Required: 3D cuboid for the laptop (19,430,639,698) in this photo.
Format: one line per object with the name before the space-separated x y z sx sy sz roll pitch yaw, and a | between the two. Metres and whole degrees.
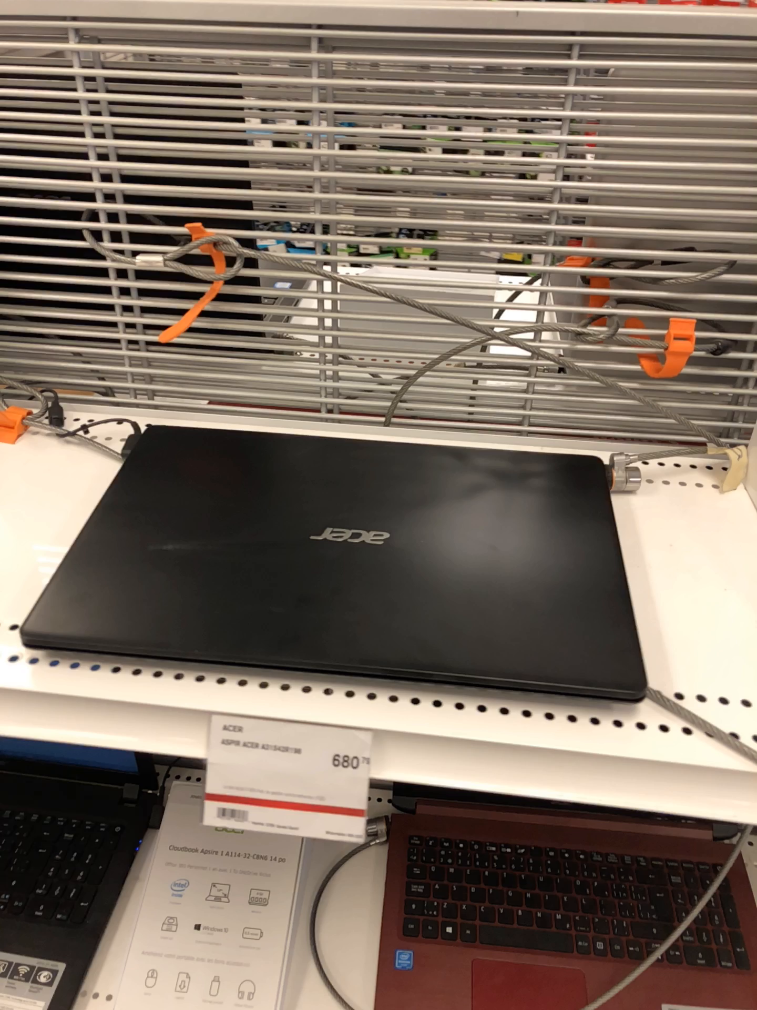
laptop | -0.019 0.023 0.566 0.354 0.006 0.232 5 36 4
